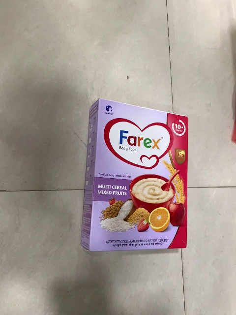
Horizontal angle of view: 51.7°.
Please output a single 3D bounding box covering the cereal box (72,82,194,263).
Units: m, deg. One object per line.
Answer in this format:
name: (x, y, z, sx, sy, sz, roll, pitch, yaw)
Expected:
cereal box: (0.026, 0.023, 0.339, 0.150, 0.060, 0.210, 7, 80, -23)
